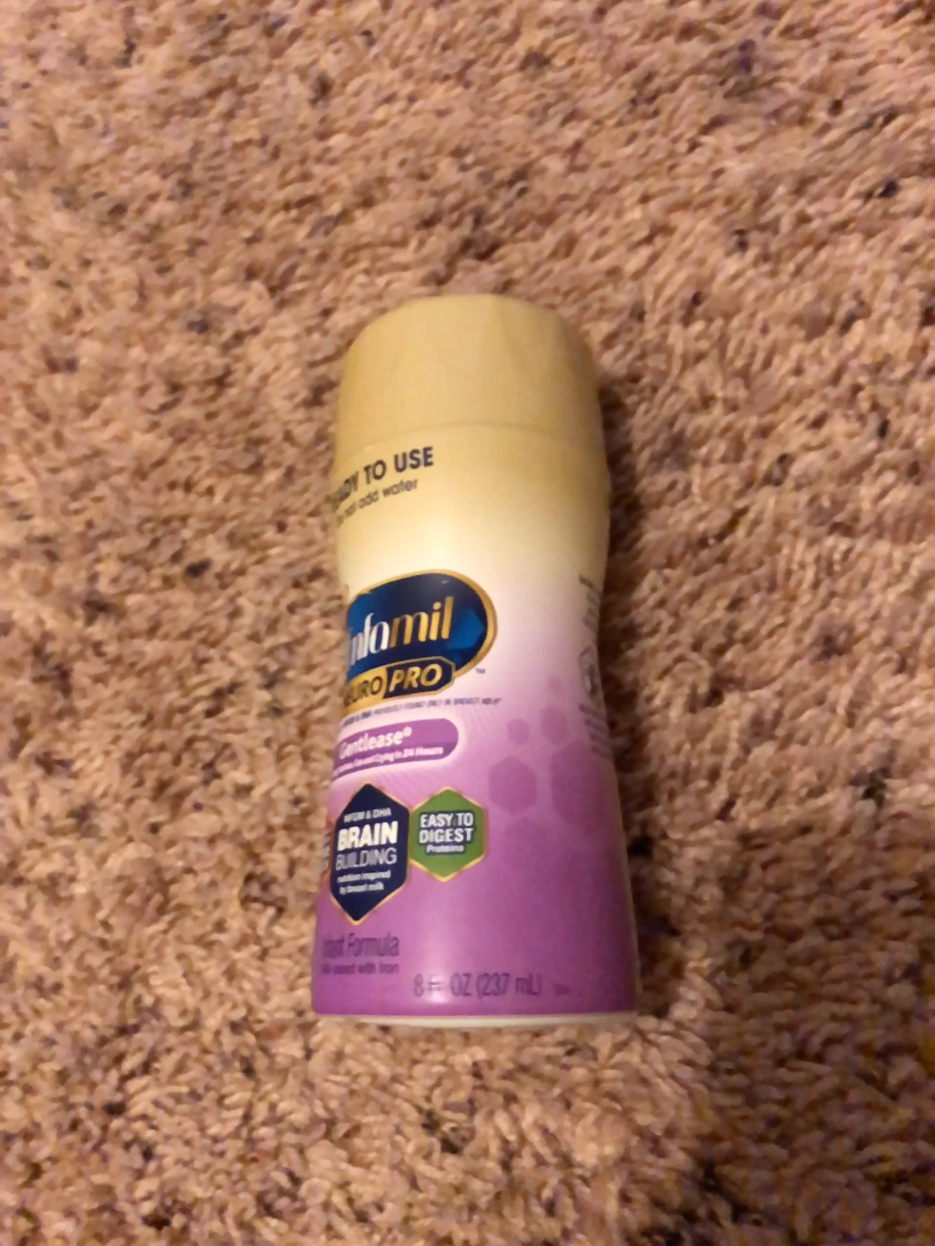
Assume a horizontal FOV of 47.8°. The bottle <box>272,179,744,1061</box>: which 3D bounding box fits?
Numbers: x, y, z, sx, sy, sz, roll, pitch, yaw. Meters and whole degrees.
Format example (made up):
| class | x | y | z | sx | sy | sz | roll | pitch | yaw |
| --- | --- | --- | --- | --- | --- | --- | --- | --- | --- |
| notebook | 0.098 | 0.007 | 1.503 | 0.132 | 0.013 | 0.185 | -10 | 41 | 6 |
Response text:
| class | x | y | z | sx | sy | sz | roll | pitch | yaw |
| --- | --- | --- | --- | --- | --- | --- | --- | --- | --- |
| bottle | 0.004 | 0.003 | 0.209 | 0.060 | 0.060 | 0.150 | -29 | 57 | 55 |
